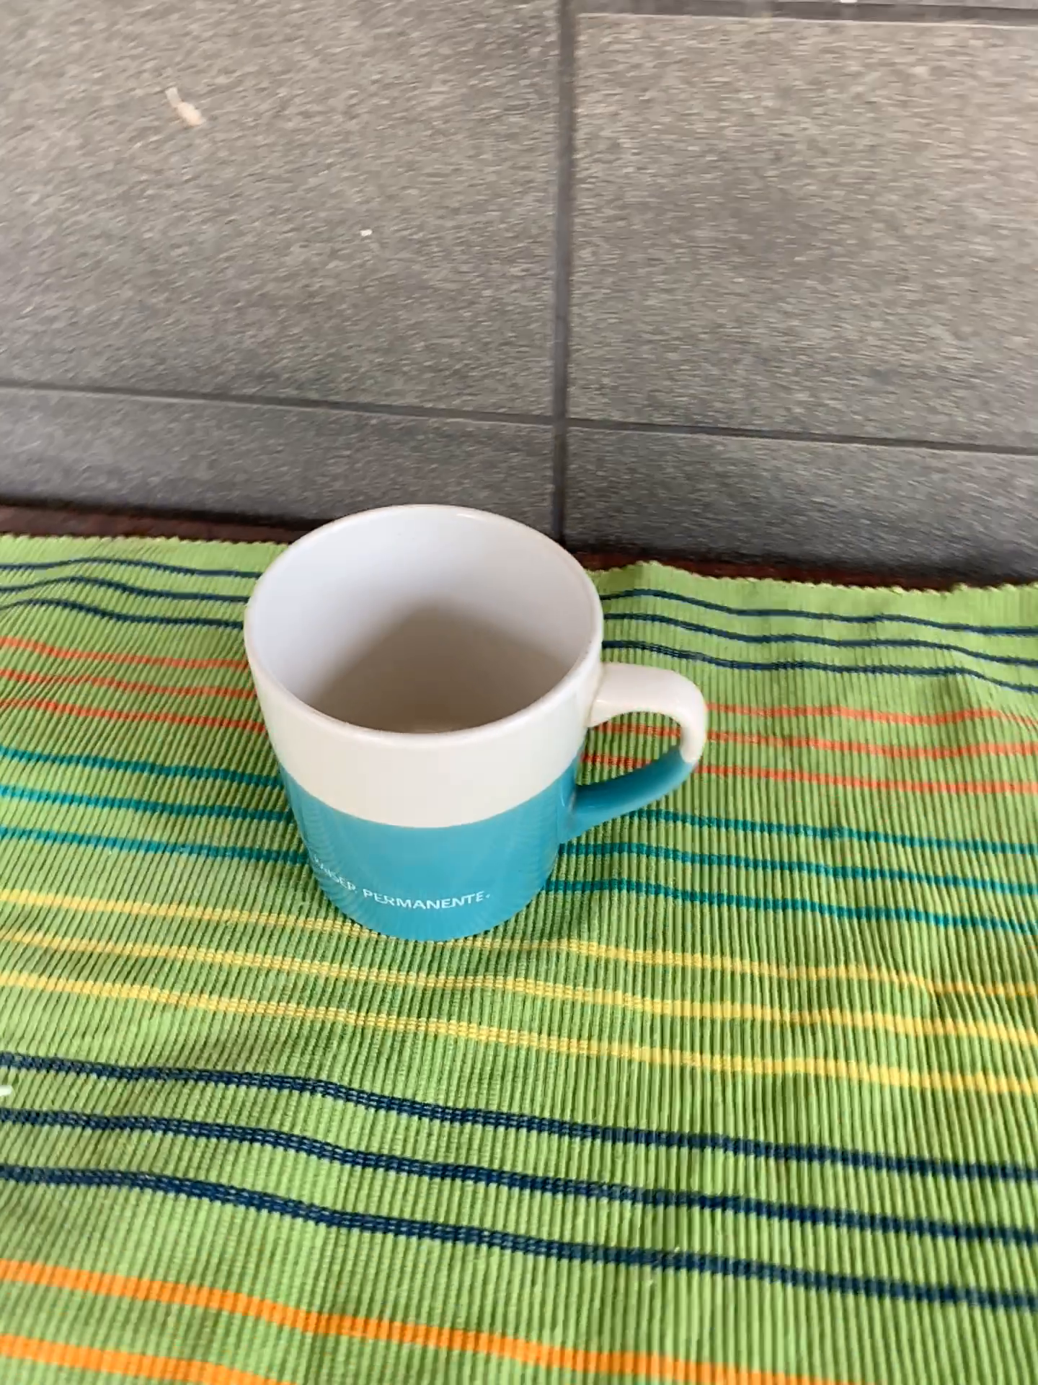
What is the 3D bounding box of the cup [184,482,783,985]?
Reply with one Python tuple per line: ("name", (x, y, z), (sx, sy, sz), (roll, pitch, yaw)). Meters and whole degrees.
("cup", (-0.005, 0.011, 0.318), (0.140, 0.100, 0.100), (3, 44, 4))
